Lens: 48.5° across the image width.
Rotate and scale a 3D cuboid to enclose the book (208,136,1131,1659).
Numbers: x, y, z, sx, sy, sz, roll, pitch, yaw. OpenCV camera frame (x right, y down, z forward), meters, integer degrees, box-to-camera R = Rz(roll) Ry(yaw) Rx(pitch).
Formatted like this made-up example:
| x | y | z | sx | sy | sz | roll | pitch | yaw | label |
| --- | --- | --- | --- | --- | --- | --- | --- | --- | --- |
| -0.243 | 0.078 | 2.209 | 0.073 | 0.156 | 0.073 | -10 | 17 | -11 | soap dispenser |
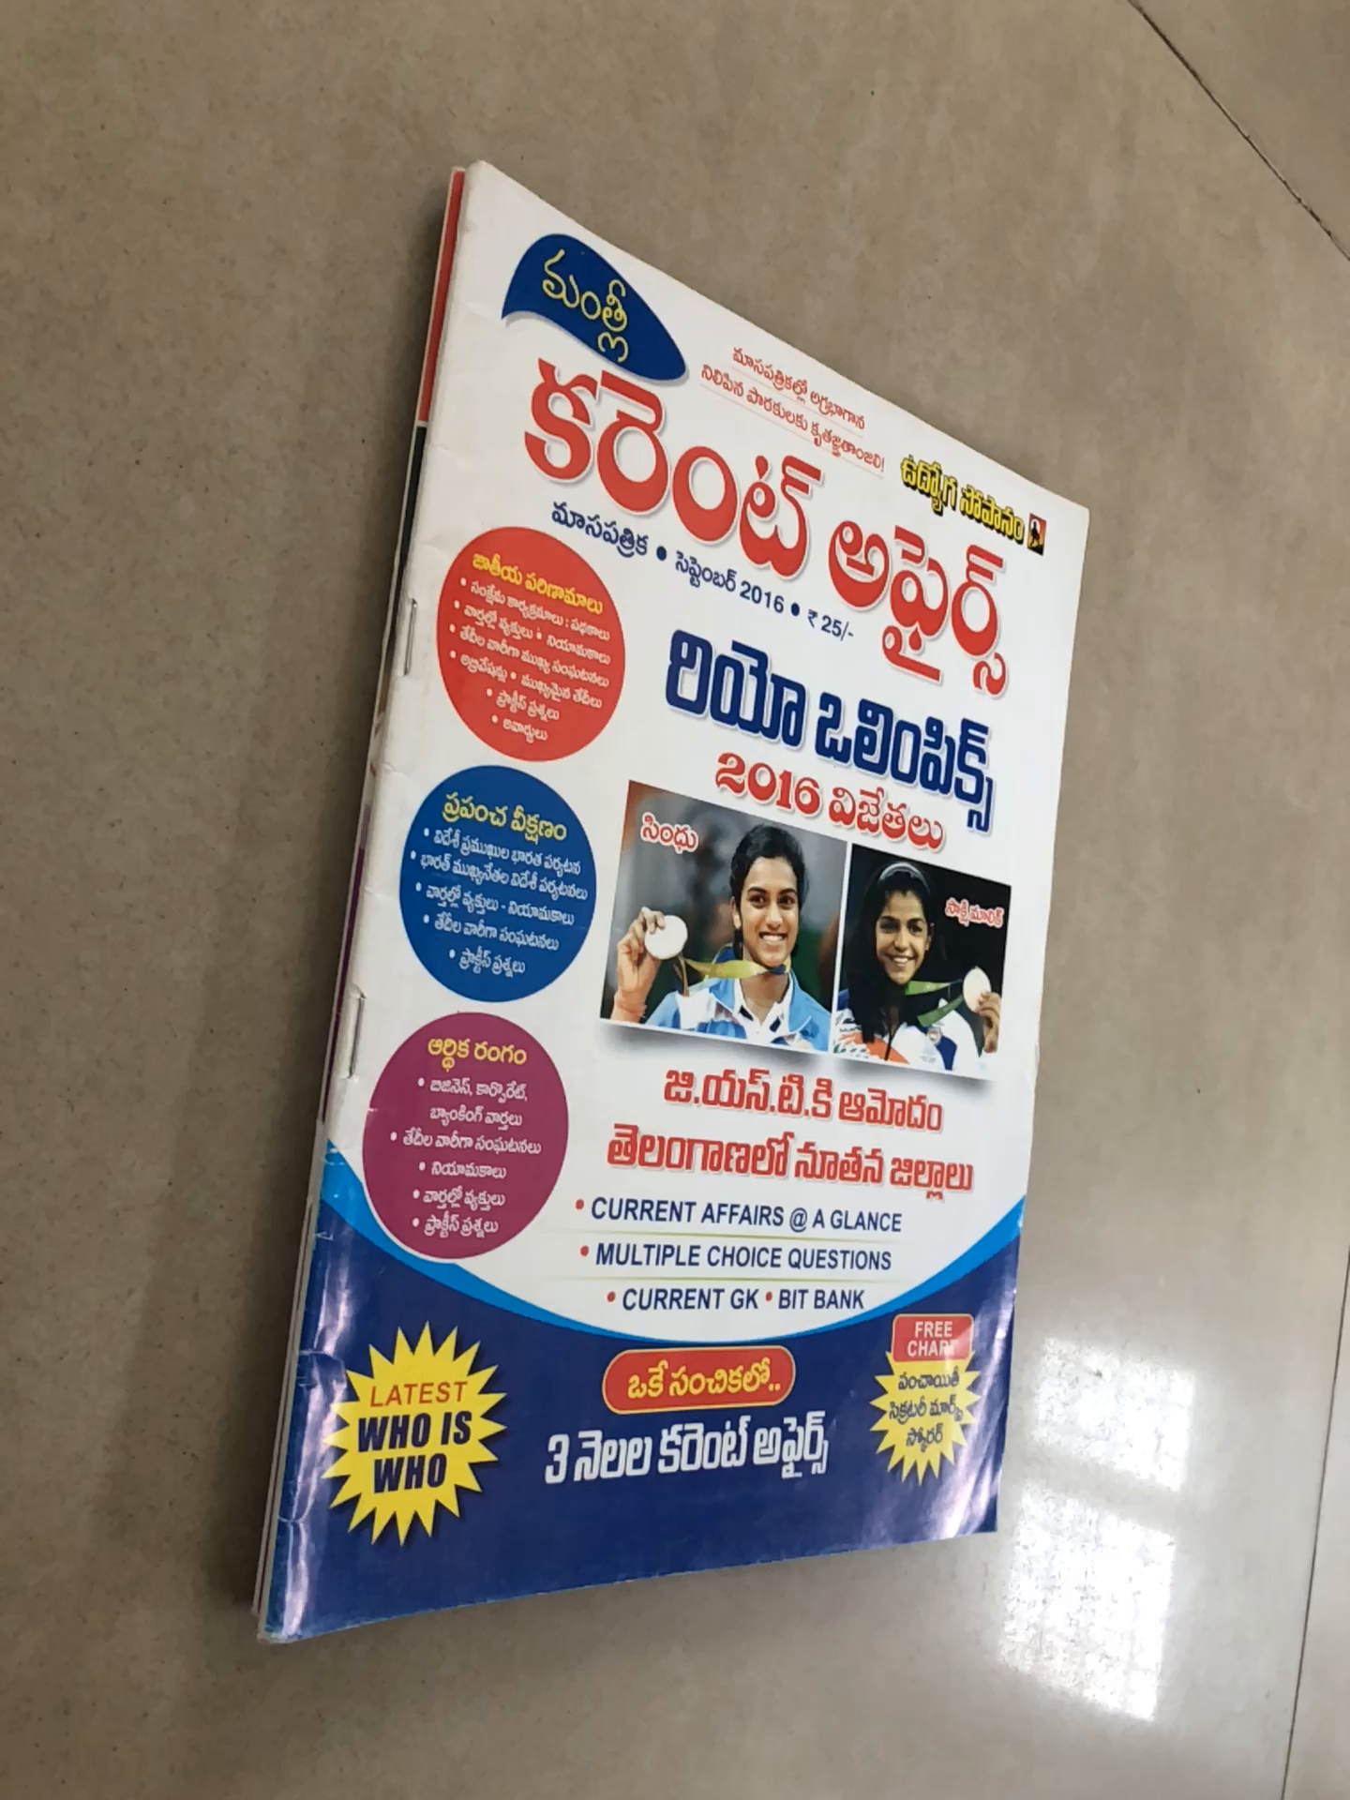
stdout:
| x | y | z | sx | sy | sz | roll | pitch | yaw | label |
| --- | --- | --- | --- | --- | --- | --- | --- | --- | --- |
| 0.022 | 0.009 | 0.317 | 0.201 | 0.010 | 0.260 | 14 | 80 | -38 | book |
